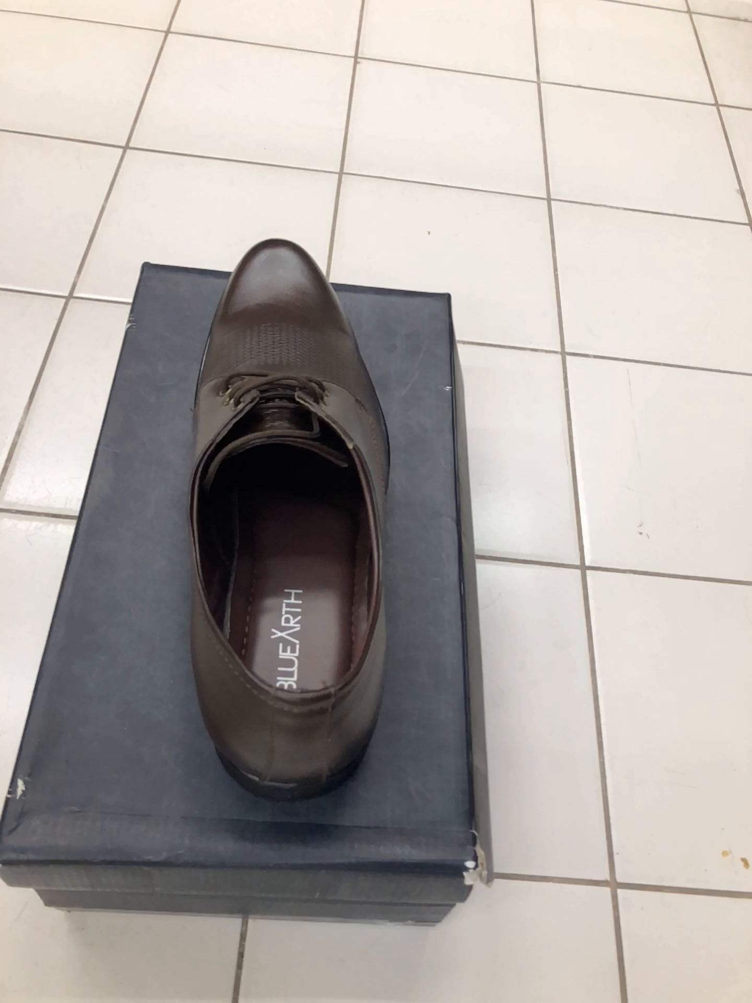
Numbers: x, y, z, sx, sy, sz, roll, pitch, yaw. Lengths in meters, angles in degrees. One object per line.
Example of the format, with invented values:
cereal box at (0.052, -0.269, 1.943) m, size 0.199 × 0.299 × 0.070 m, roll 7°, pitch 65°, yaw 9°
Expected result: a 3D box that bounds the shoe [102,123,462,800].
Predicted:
shoe at (-0.039, -0.033, 0.377) m, size 0.110 × 0.100 × 0.301 m, roll 1°, pitch 57°, yaw -6°
